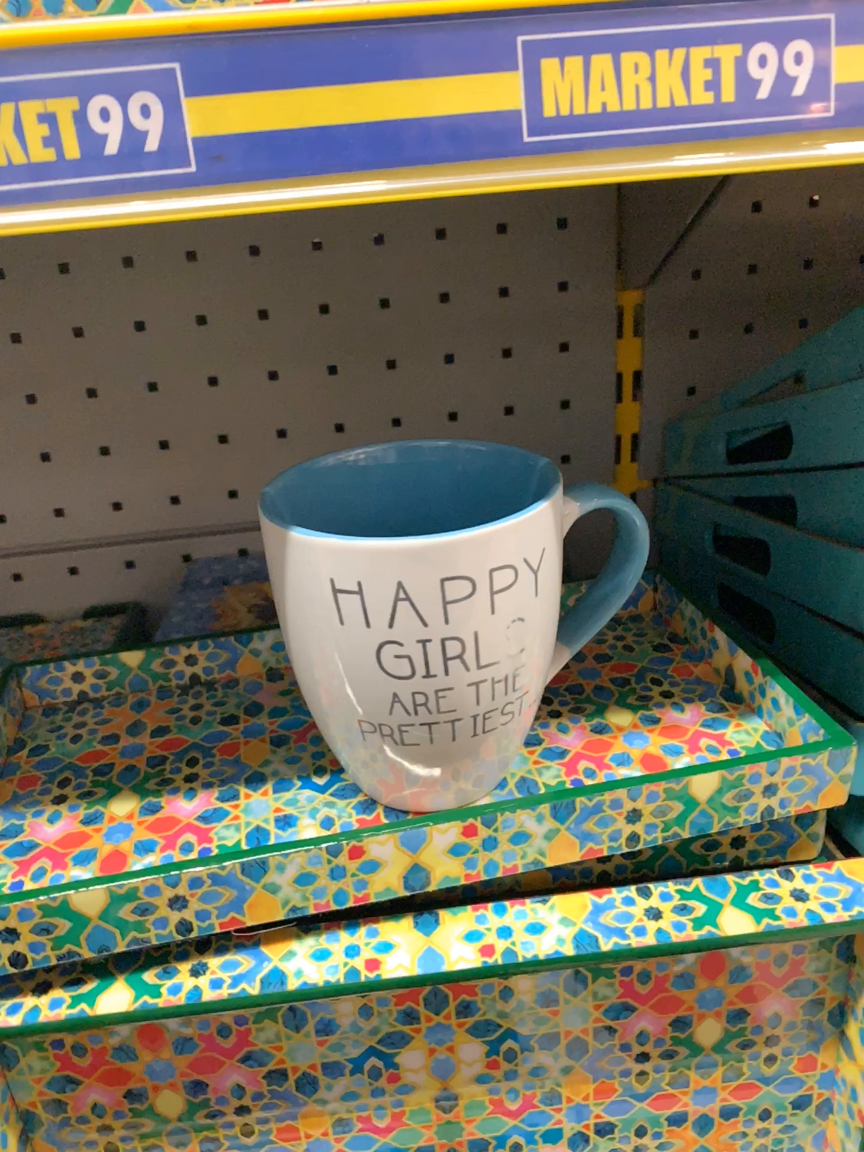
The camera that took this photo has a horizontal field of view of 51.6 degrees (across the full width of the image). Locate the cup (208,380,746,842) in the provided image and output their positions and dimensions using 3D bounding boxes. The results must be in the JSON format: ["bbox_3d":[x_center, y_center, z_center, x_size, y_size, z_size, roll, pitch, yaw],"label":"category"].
[{"bbox_3d":[0.013,-0.002,0.333,0.150,0.100,0.120,-15,26,-21],"label":"cup"}]
